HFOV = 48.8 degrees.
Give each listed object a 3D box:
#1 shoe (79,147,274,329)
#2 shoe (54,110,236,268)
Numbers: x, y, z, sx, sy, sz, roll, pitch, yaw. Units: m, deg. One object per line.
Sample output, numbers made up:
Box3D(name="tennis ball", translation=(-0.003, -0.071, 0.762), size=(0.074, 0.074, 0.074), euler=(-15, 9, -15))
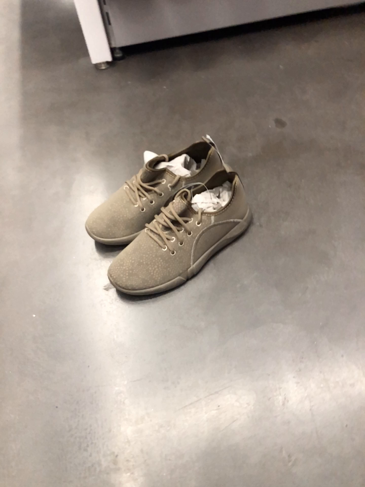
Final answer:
Box3D(name="shoe", translation=(-0.001, -0.010, 0.563), size=(0.241, 0.110, 0.100), euler=(-35, 62, -16))
Box3D(name="shoe", translation=(-0.046, -0.083, 0.604), size=(0.241, 0.110, 0.090), euler=(-31, 61, -14))
